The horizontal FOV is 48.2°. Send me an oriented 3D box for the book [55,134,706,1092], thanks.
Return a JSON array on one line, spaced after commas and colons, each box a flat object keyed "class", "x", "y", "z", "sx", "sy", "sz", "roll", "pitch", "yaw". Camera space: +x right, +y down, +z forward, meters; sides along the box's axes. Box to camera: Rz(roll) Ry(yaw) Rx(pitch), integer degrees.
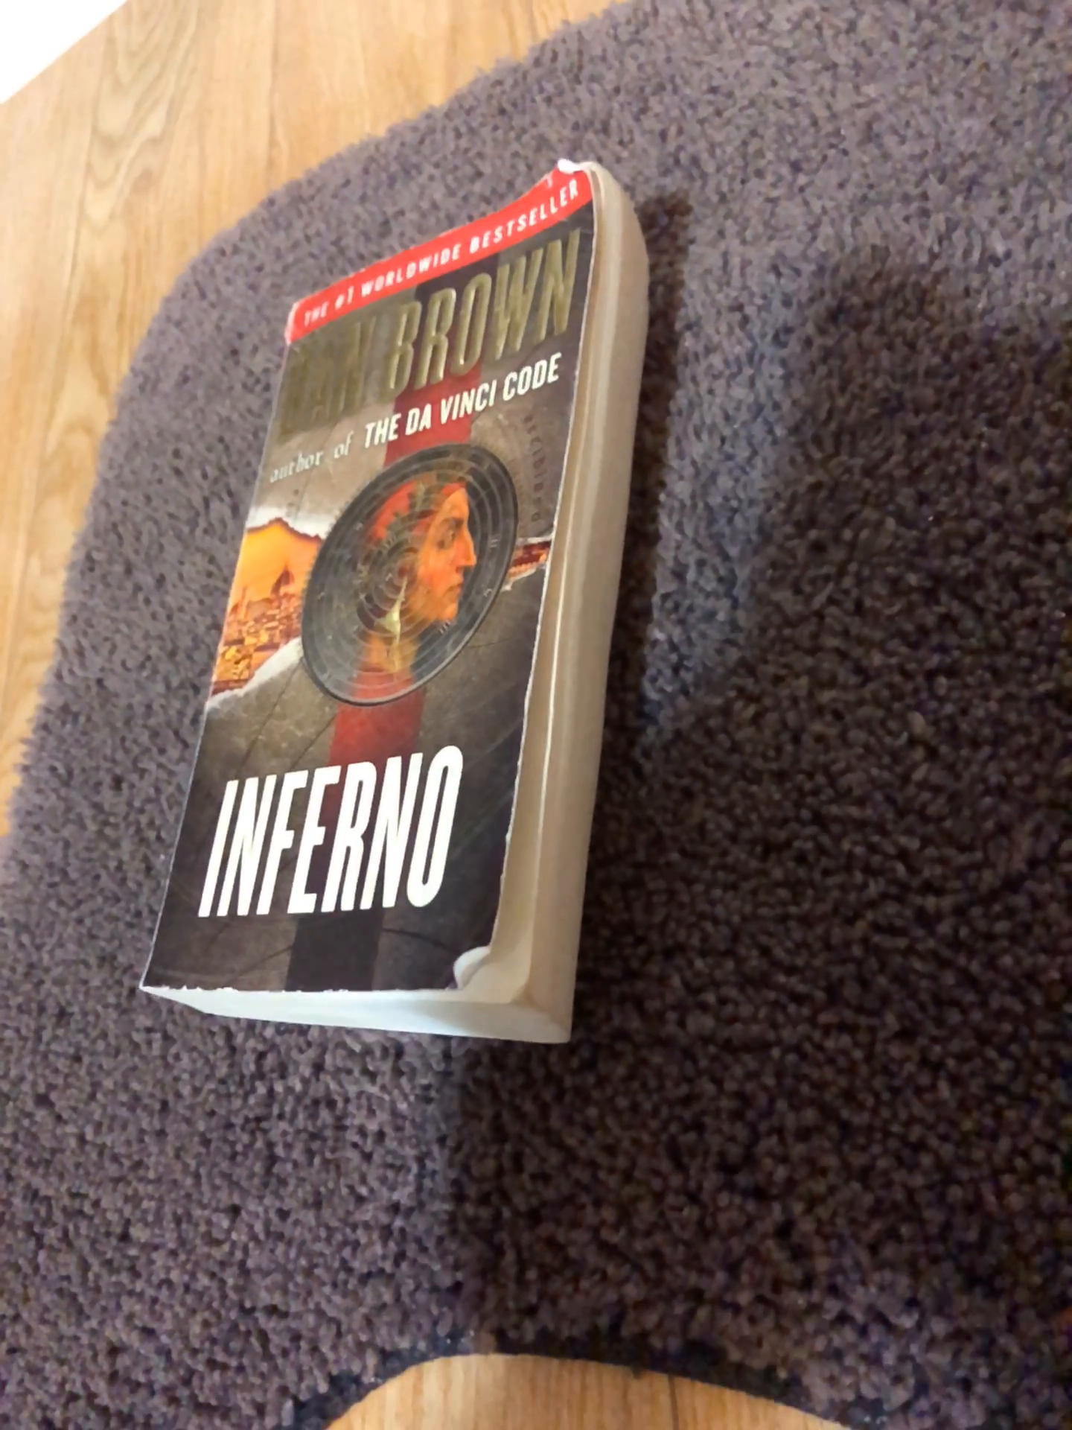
[{"class": "book", "x": -0.032, "y": -0.022, "z": 0.285, "sx": 0.120, "sy": 0.050, "sz": 0.200, "roll": -7, "pitch": 66, "yaw": 34}]
